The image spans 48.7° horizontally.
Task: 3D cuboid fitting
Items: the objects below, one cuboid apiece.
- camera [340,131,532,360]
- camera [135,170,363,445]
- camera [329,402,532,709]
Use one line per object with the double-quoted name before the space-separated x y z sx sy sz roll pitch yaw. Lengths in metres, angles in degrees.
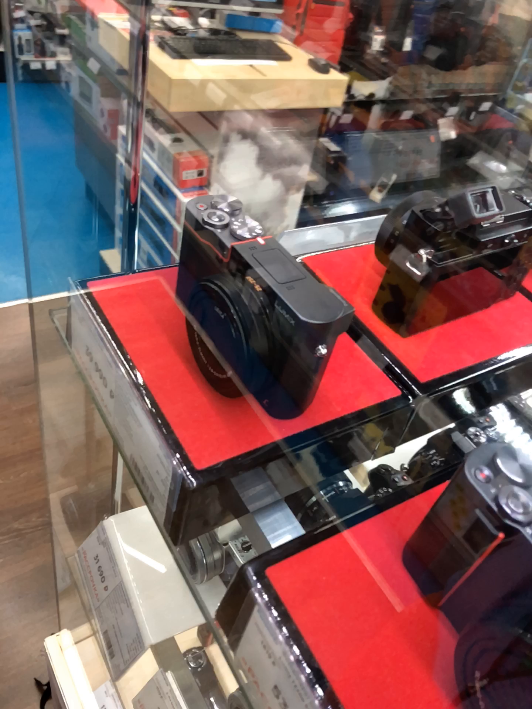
"camera" 0.123 -0.070 0.361 0.113 0.101 0.069 -17 50 -31
"camera" -0.016 -0.028 0.283 0.050 0.070 0.113 -15 50 -29
"camera" 0.080 0.085 0.184 0.051 0.070 0.113 -13 49 -28
